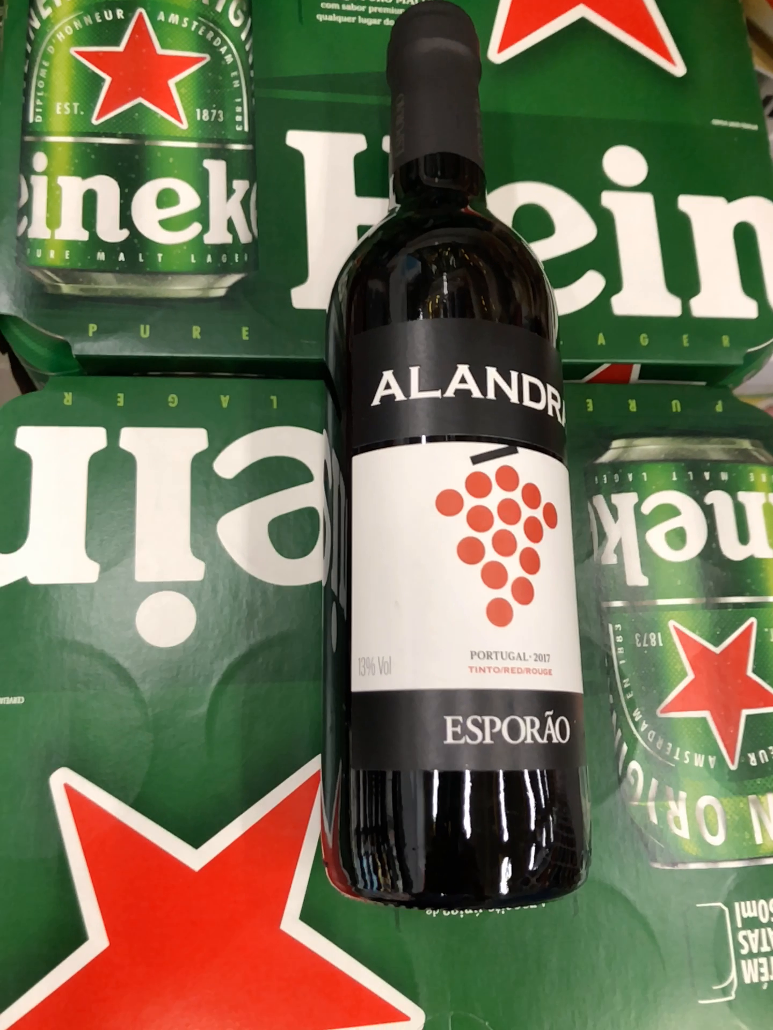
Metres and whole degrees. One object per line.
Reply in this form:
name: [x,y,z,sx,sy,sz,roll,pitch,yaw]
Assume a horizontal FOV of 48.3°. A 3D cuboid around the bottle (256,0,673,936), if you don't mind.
bottle: [0.008,-0.040,0.206,0.060,0.060,0.240,2,75,-21]
